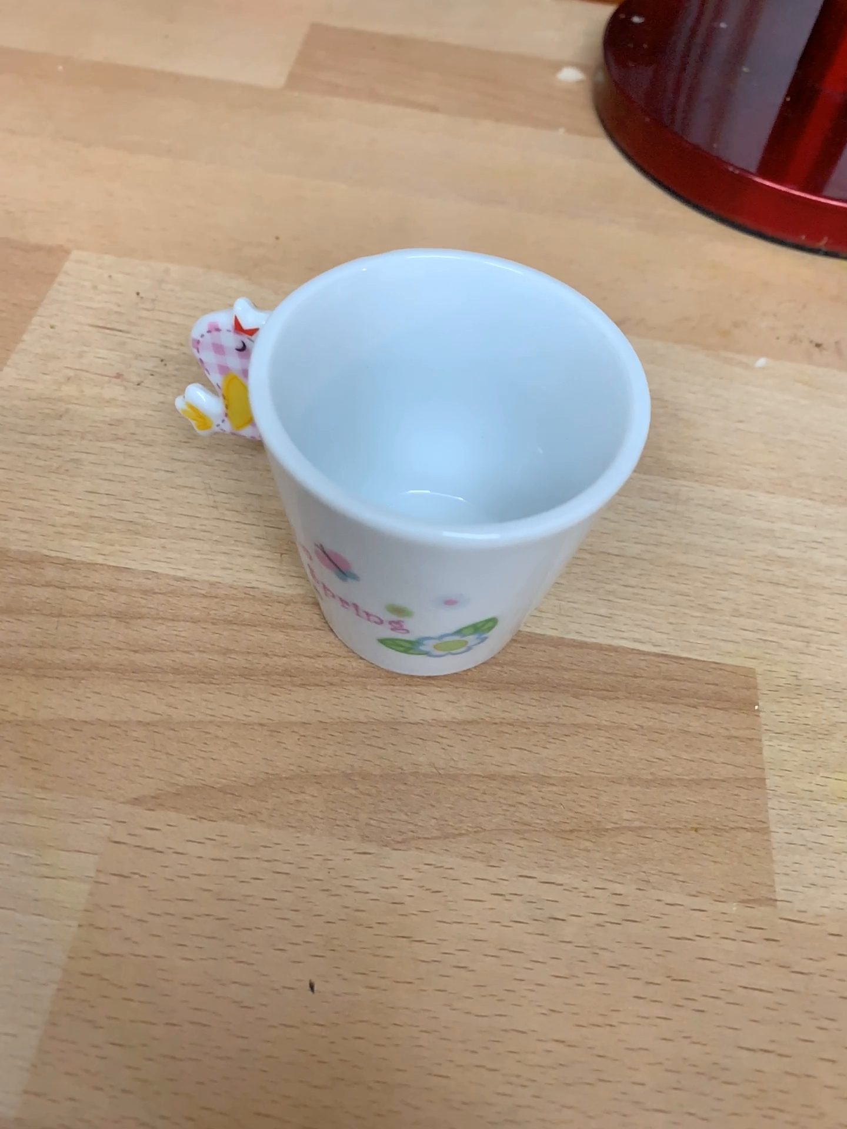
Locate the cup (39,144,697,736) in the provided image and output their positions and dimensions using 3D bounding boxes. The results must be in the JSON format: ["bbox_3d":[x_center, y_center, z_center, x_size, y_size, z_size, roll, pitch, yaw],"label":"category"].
[{"bbox_3d":[-0.007,-0.023,0.153,0.080,0.050,0.060,23,56,10],"label":"cup"}]
